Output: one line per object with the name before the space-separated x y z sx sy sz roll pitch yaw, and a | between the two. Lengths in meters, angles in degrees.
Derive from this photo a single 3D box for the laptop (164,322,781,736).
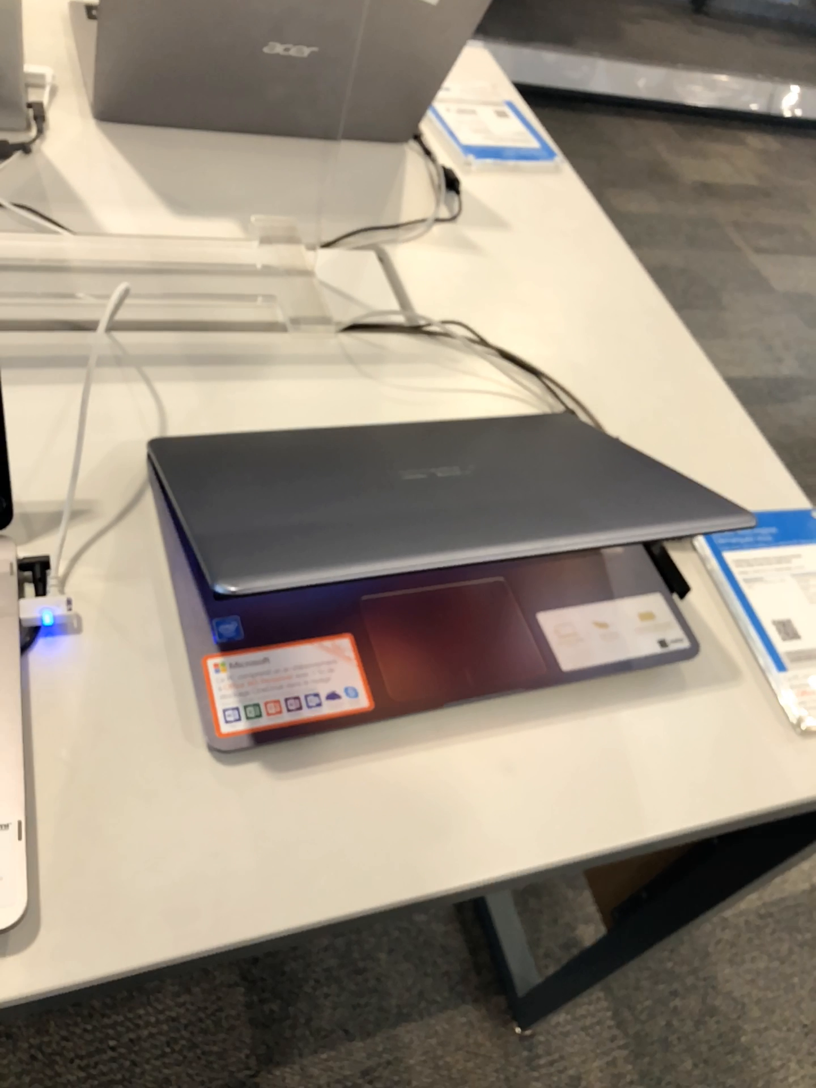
laptop | 0.028 -0.027 0.542 0.301 0.099 0.201 -7 54 -24
